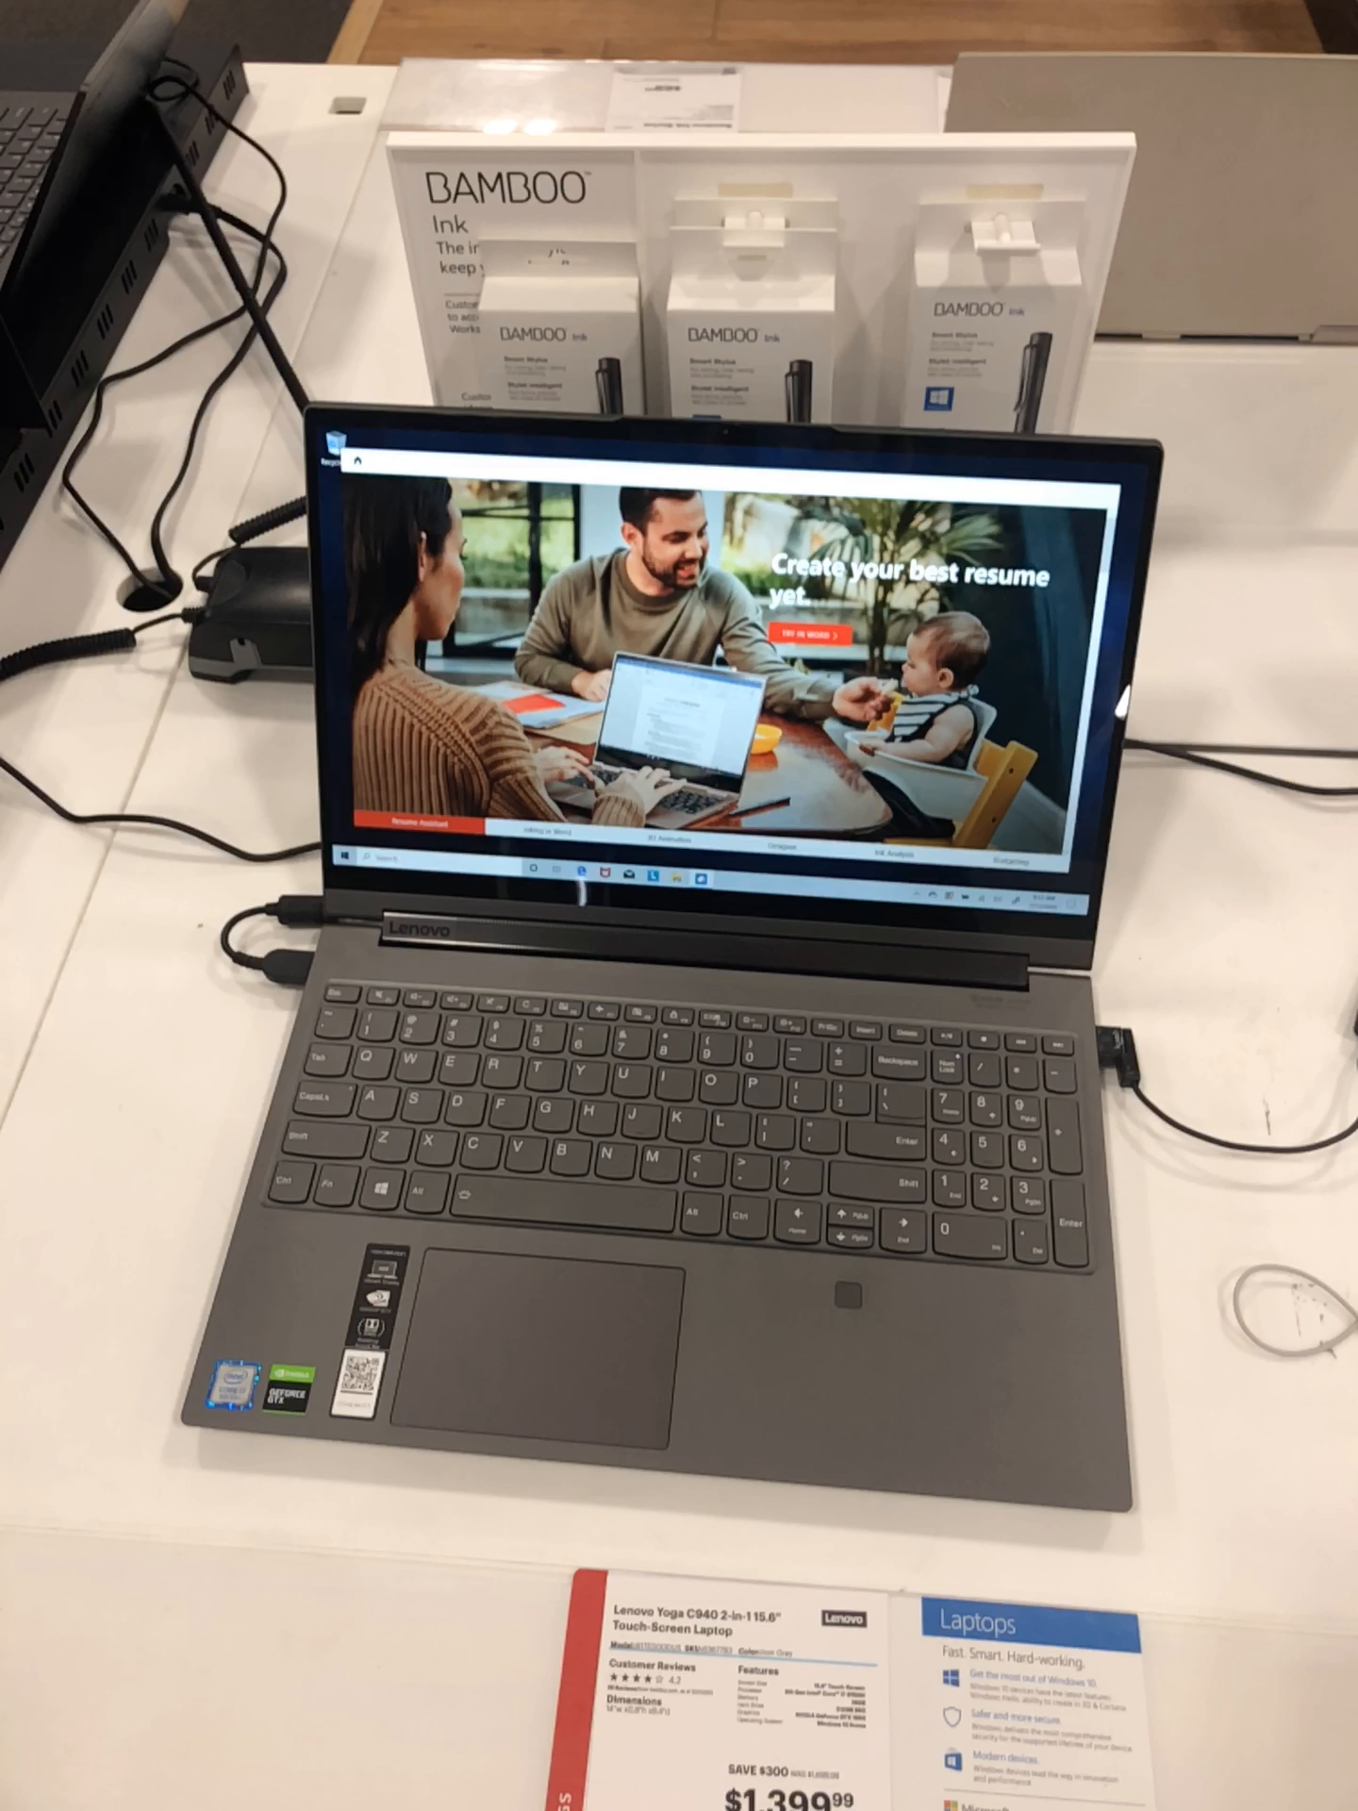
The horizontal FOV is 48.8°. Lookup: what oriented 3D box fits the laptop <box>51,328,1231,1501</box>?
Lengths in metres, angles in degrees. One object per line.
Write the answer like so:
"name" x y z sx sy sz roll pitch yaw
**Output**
"laptop" 0.002 -0.008 0.581 0.336 0.169 0.375 4 61 3
